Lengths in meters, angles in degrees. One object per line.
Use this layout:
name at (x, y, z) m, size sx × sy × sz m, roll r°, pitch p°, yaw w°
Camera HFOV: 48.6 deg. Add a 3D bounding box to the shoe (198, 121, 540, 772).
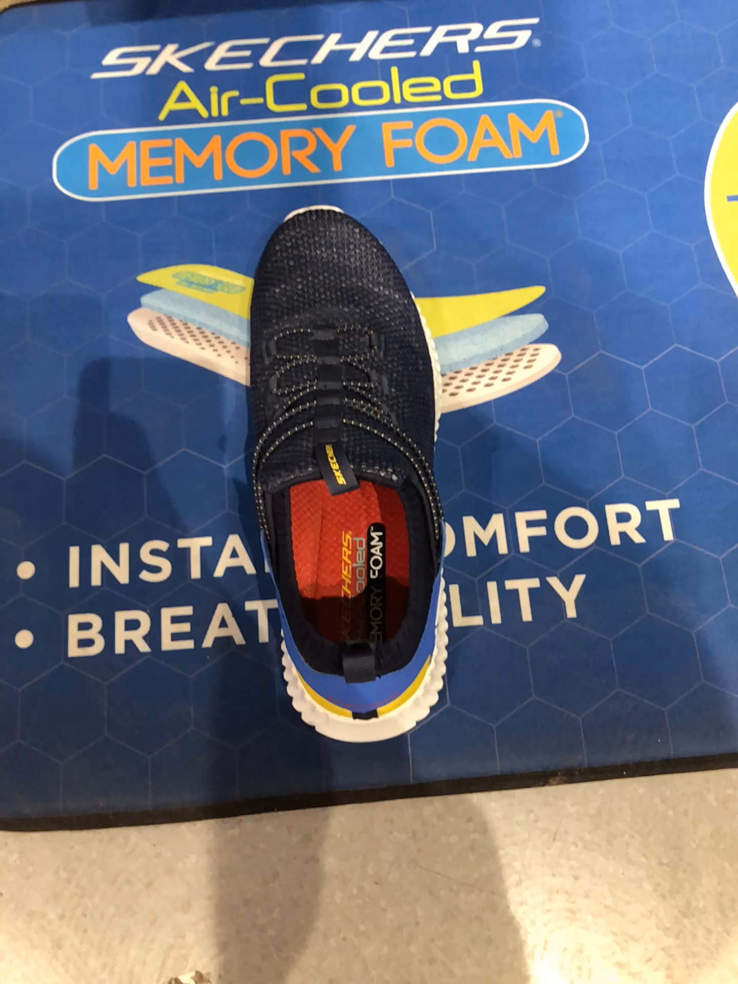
shoe at (-0.007, -0.021, 0.397) m, size 0.111 × 0.103 × 0.280 m, roll -7°, pitch 75°, yaw -1°
